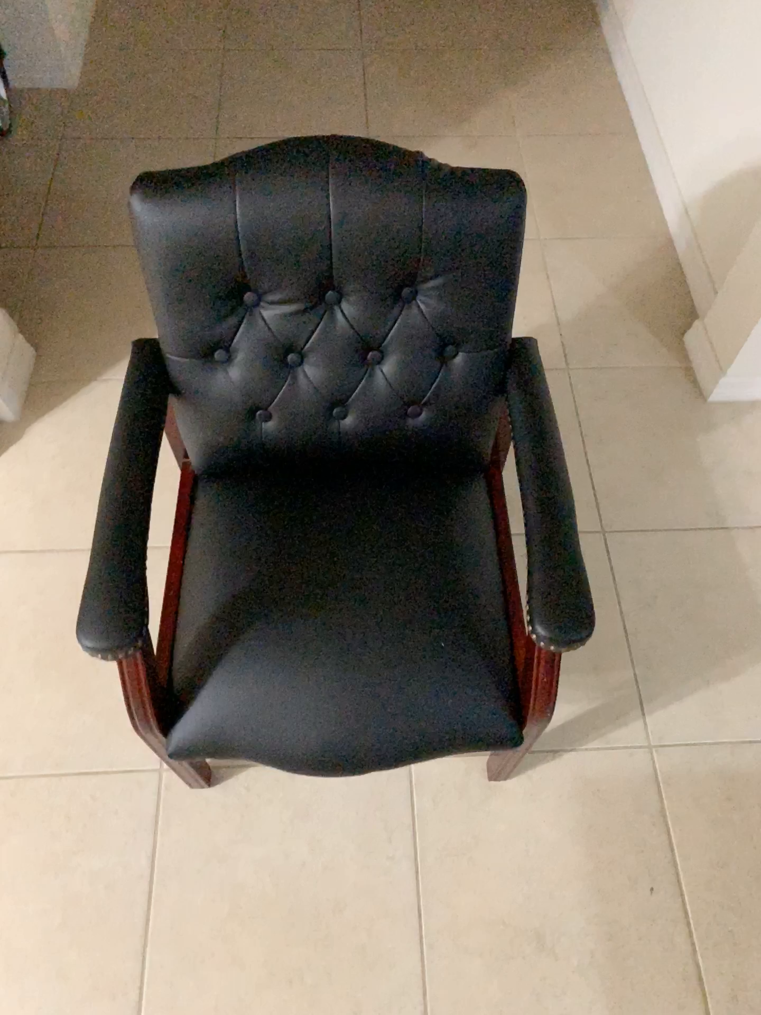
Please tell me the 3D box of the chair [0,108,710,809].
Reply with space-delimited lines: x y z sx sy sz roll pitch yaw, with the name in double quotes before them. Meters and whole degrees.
"chair" -0.072 0.022 1.181 0.631 0.910 0.659 -2 60 -3
